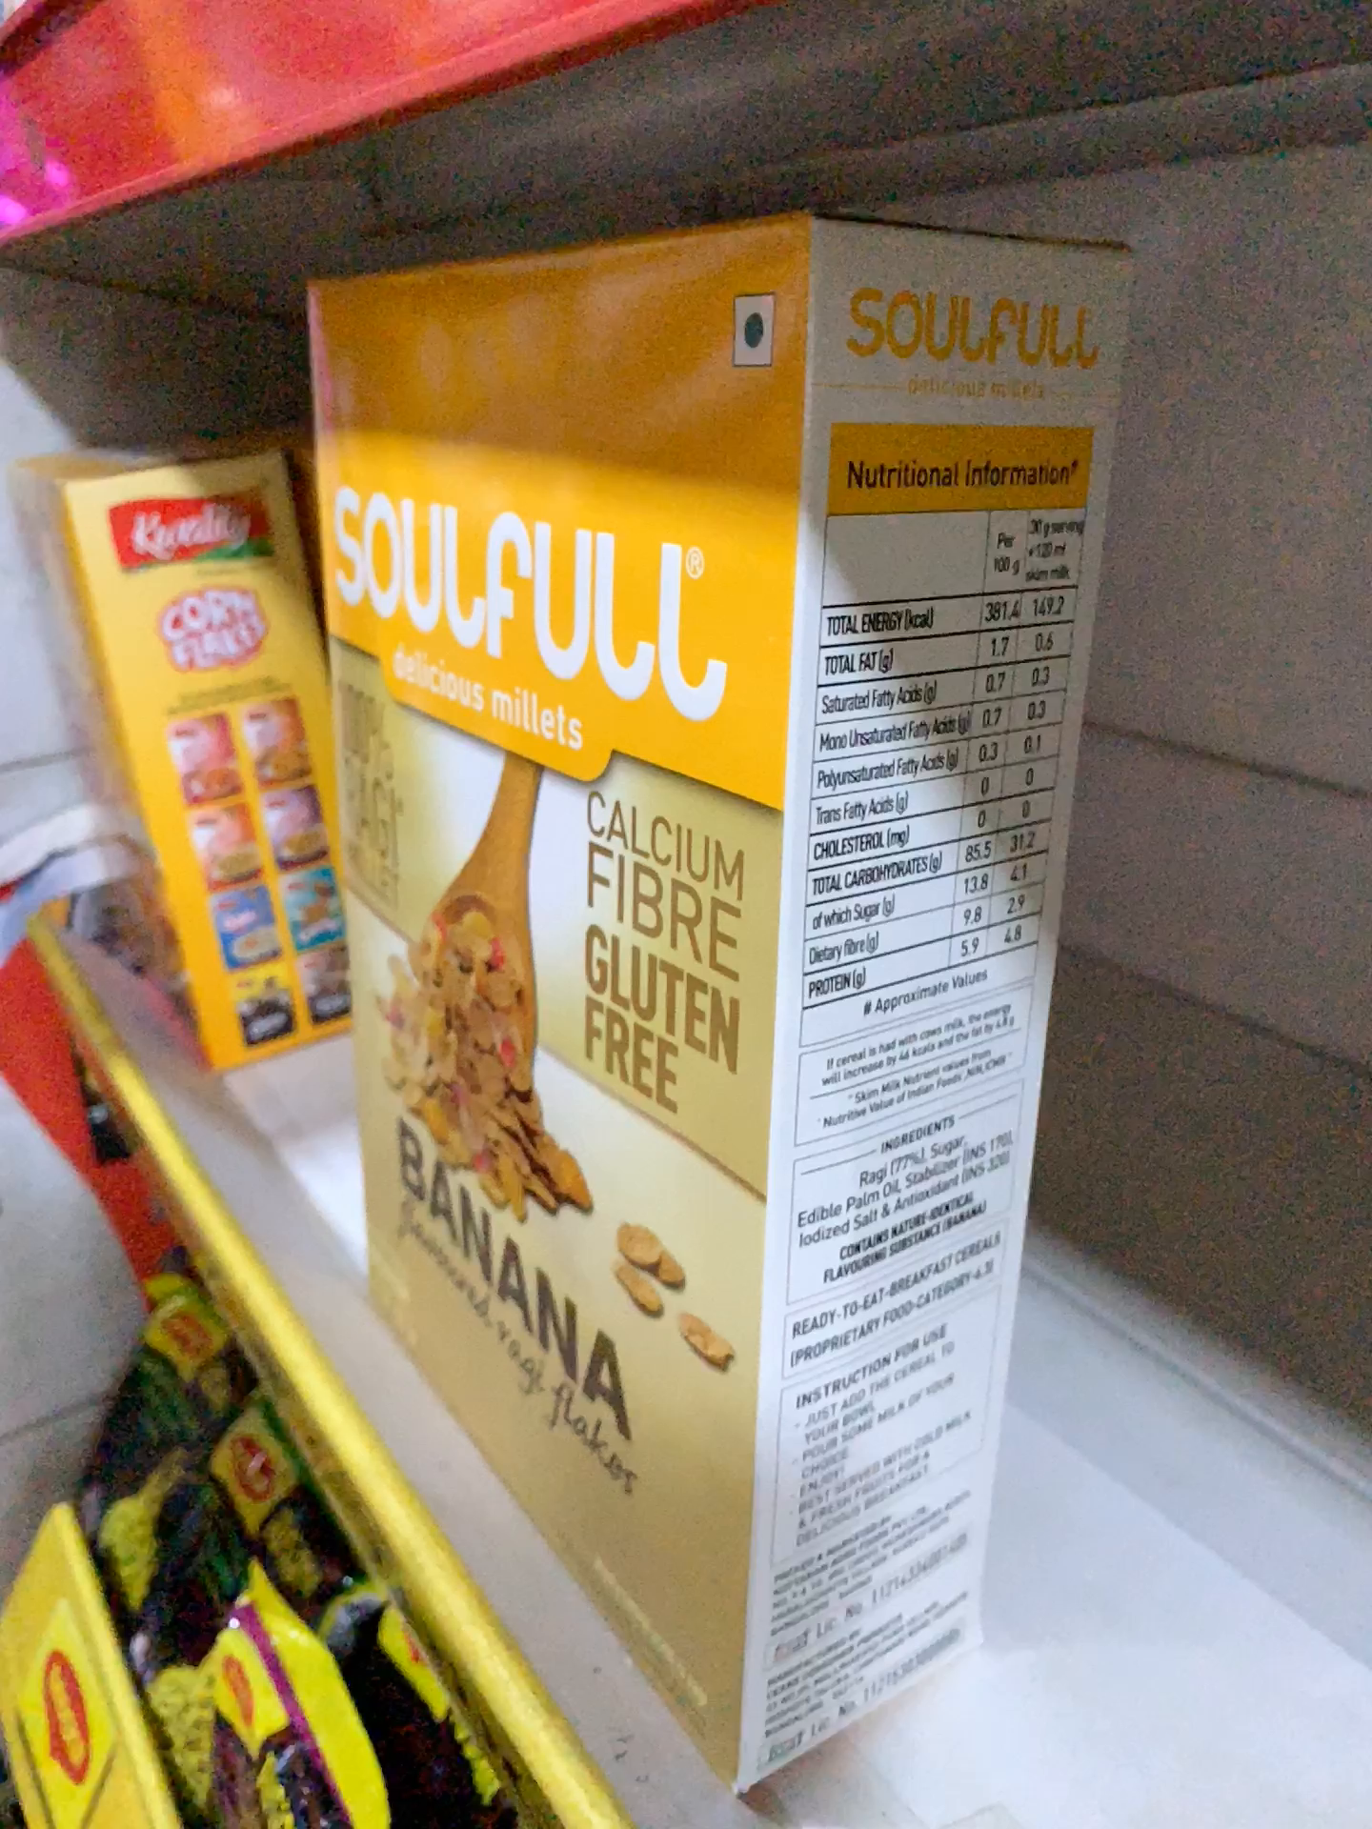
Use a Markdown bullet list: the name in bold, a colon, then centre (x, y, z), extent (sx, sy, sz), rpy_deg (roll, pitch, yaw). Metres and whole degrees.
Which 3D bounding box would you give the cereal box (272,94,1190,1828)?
- **cereal box**: centre (-0.011, 0.000, 0.257), extent (0.060, 0.229, 0.161), rpy_deg (-10, 22, -31)
